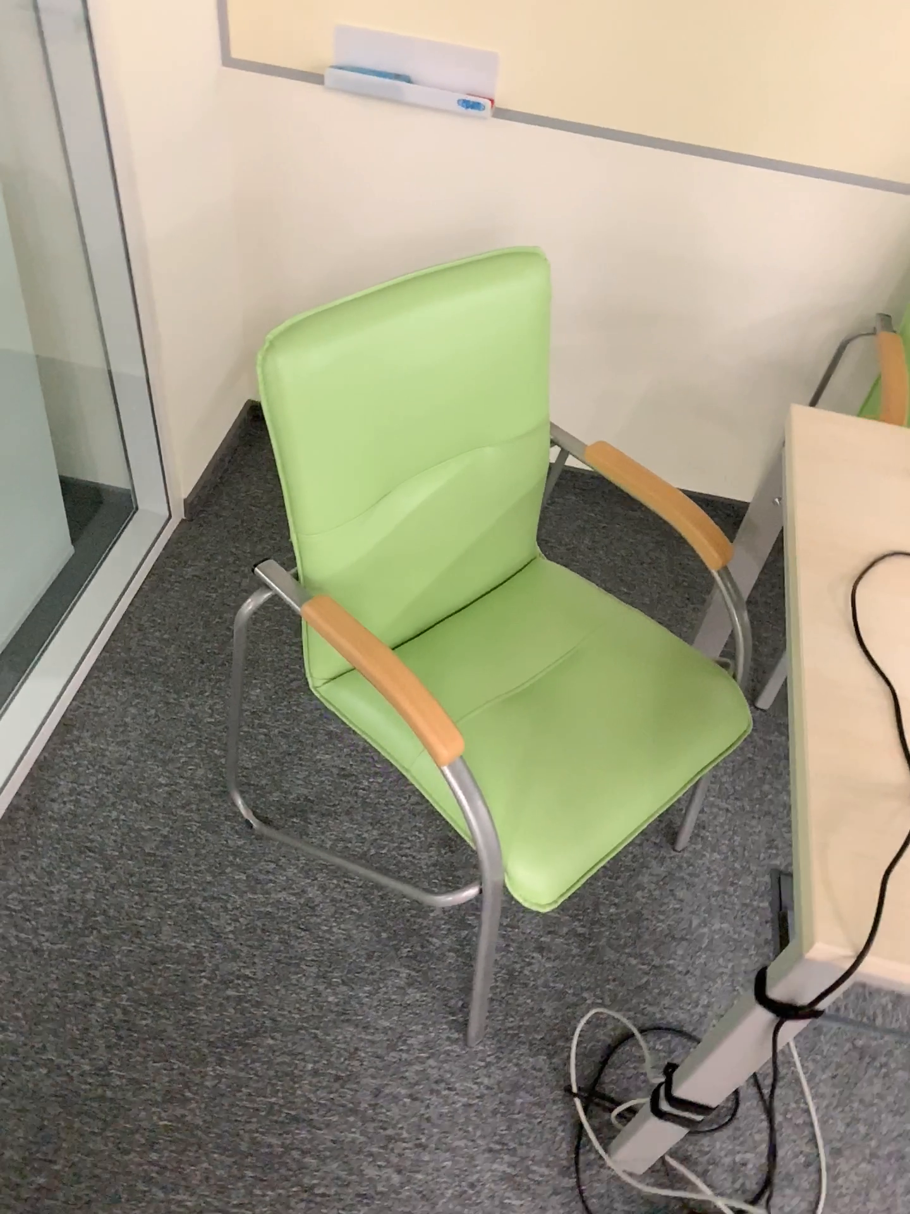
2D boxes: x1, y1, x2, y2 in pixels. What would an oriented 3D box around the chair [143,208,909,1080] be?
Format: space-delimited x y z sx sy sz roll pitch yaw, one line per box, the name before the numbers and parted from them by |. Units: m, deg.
chair | 0.072 0.055 1.368 0.672 0.896 0.651 -30 58 -31
